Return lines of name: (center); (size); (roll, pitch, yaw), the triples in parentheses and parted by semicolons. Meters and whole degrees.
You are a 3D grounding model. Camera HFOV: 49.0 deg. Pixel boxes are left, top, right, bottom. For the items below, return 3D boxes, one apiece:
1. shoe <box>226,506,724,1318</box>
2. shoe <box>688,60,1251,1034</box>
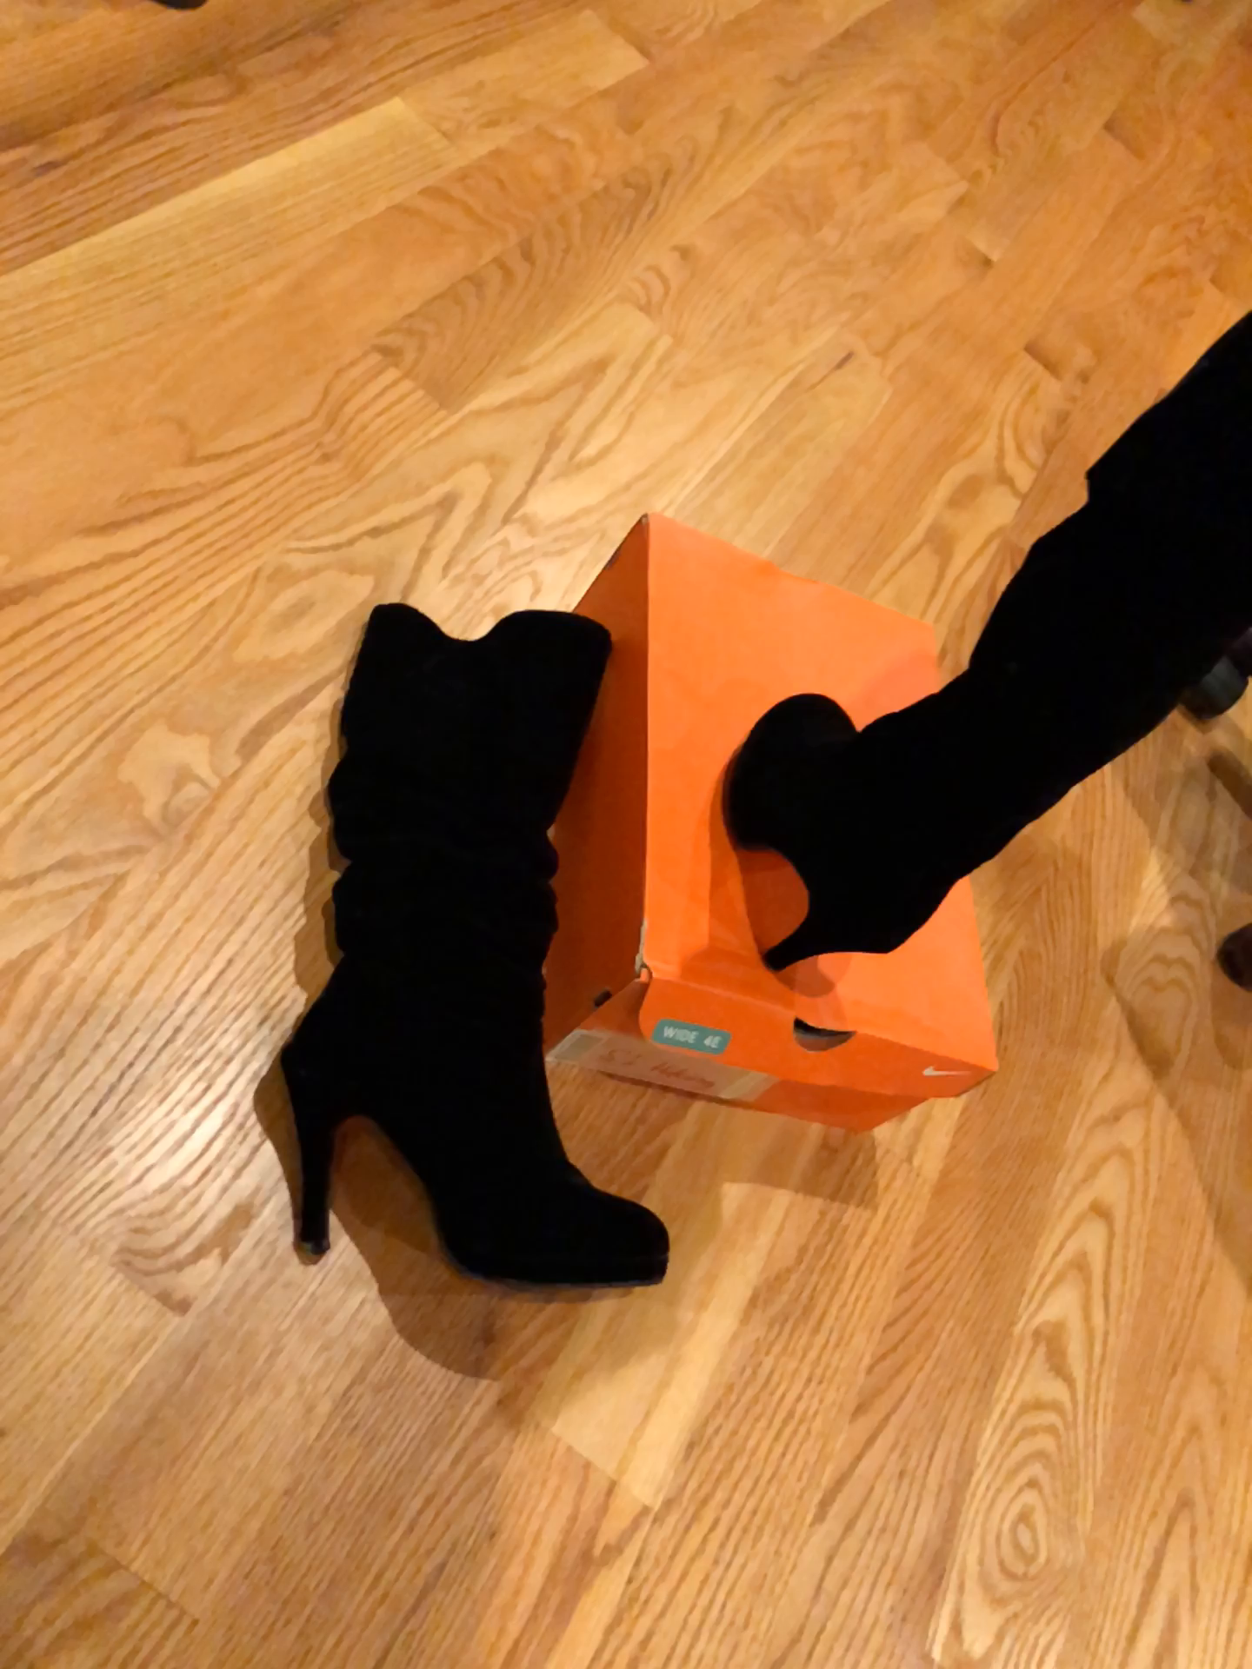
shoe: (-0.067, 0.030, 0.731); (0.206, 0.089, 0.401); (15, 54, -22)
shoe: (0.172, -0.094, 0.618); (0.089, 0.397, 0.217); (21, 52, -20)
